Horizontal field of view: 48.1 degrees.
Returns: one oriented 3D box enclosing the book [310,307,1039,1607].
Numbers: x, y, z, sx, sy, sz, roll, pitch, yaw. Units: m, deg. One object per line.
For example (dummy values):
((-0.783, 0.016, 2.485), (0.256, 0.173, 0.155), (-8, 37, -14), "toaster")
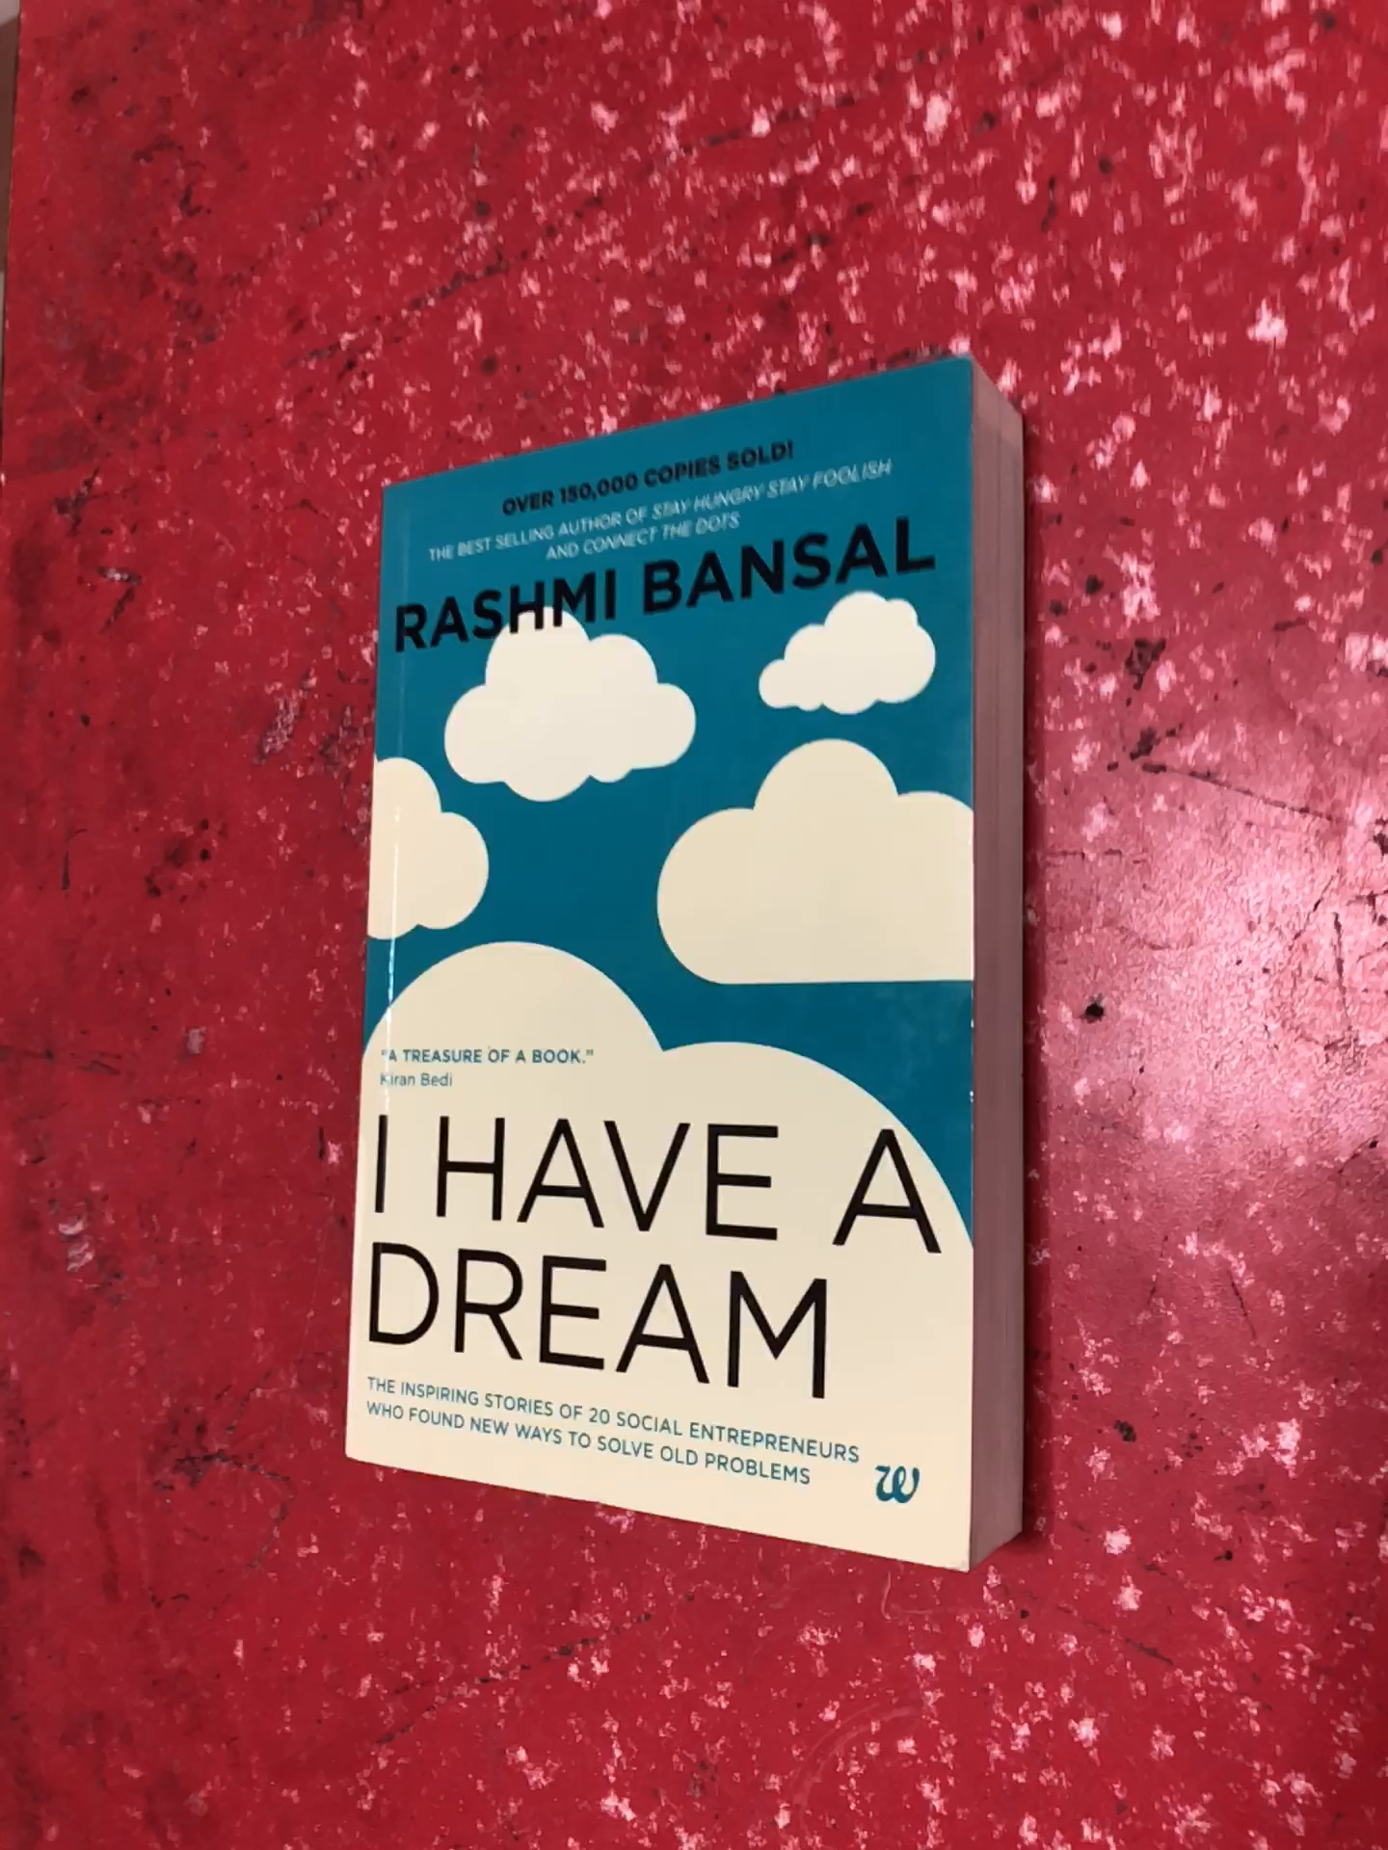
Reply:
((-0.007, 0.005, 0.283), (0.130, 0.030, 0.200), (-3, 82, 30), "book")
